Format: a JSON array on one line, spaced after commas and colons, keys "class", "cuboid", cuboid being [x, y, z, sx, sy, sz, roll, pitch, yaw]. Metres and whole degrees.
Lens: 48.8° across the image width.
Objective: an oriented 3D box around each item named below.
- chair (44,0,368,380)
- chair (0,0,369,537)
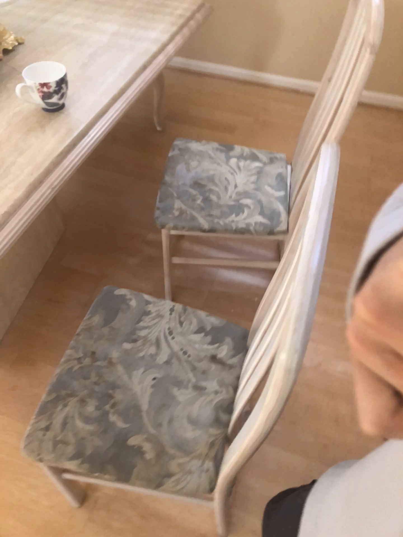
[{"class": "chair", "cuboid": [0.053, -0.189, 1.344, 0.560, 1.141, 0.484, 8, 51, 8]}, {"class": "chair", "cuboid": [-0.124, 0.164, 0.930, 0.560, 1.141, 0.484, 13, 52, 9]}]
